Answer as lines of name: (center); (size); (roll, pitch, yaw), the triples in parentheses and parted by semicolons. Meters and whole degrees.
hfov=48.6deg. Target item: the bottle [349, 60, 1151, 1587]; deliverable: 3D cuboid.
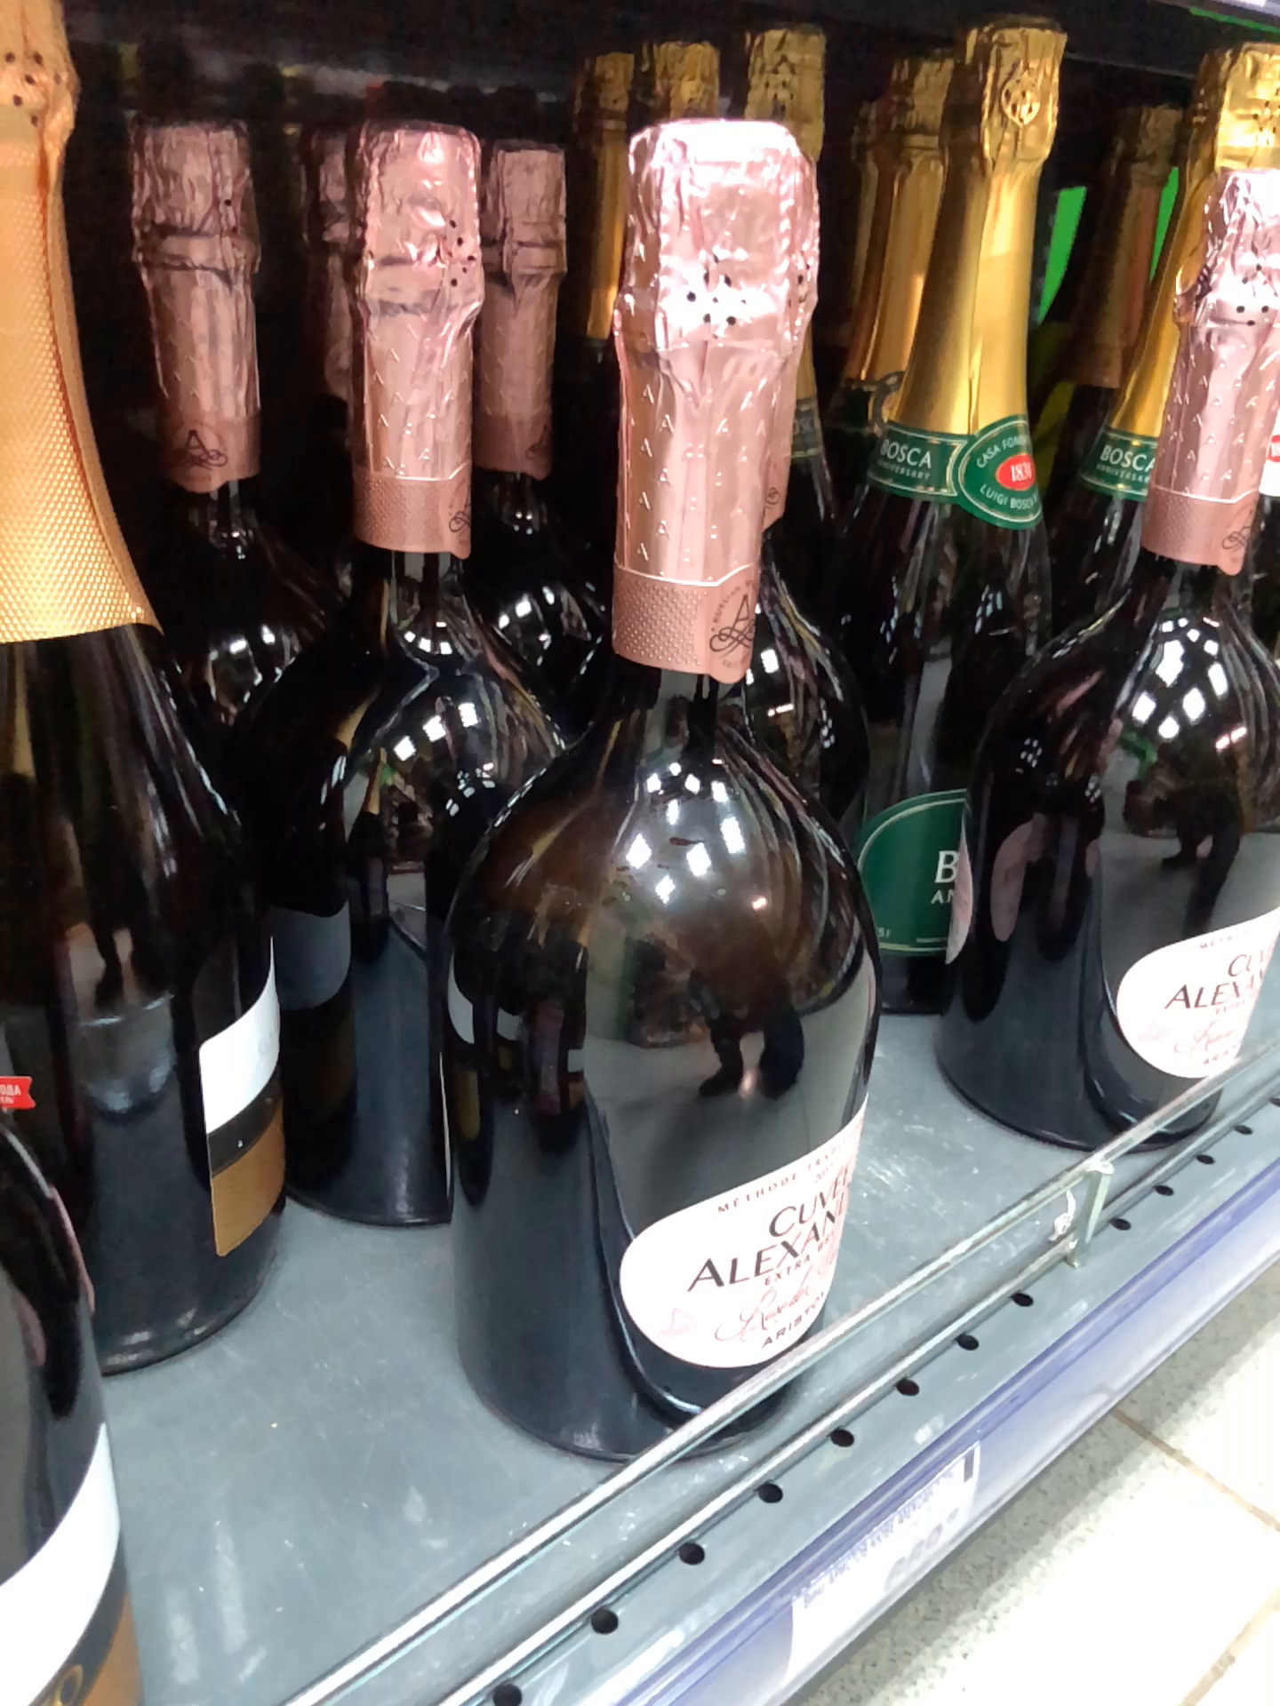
bottle: (0.015, -0.004, 0.302); (0.090, 0.279, 0.110); (23, 31, 37)
